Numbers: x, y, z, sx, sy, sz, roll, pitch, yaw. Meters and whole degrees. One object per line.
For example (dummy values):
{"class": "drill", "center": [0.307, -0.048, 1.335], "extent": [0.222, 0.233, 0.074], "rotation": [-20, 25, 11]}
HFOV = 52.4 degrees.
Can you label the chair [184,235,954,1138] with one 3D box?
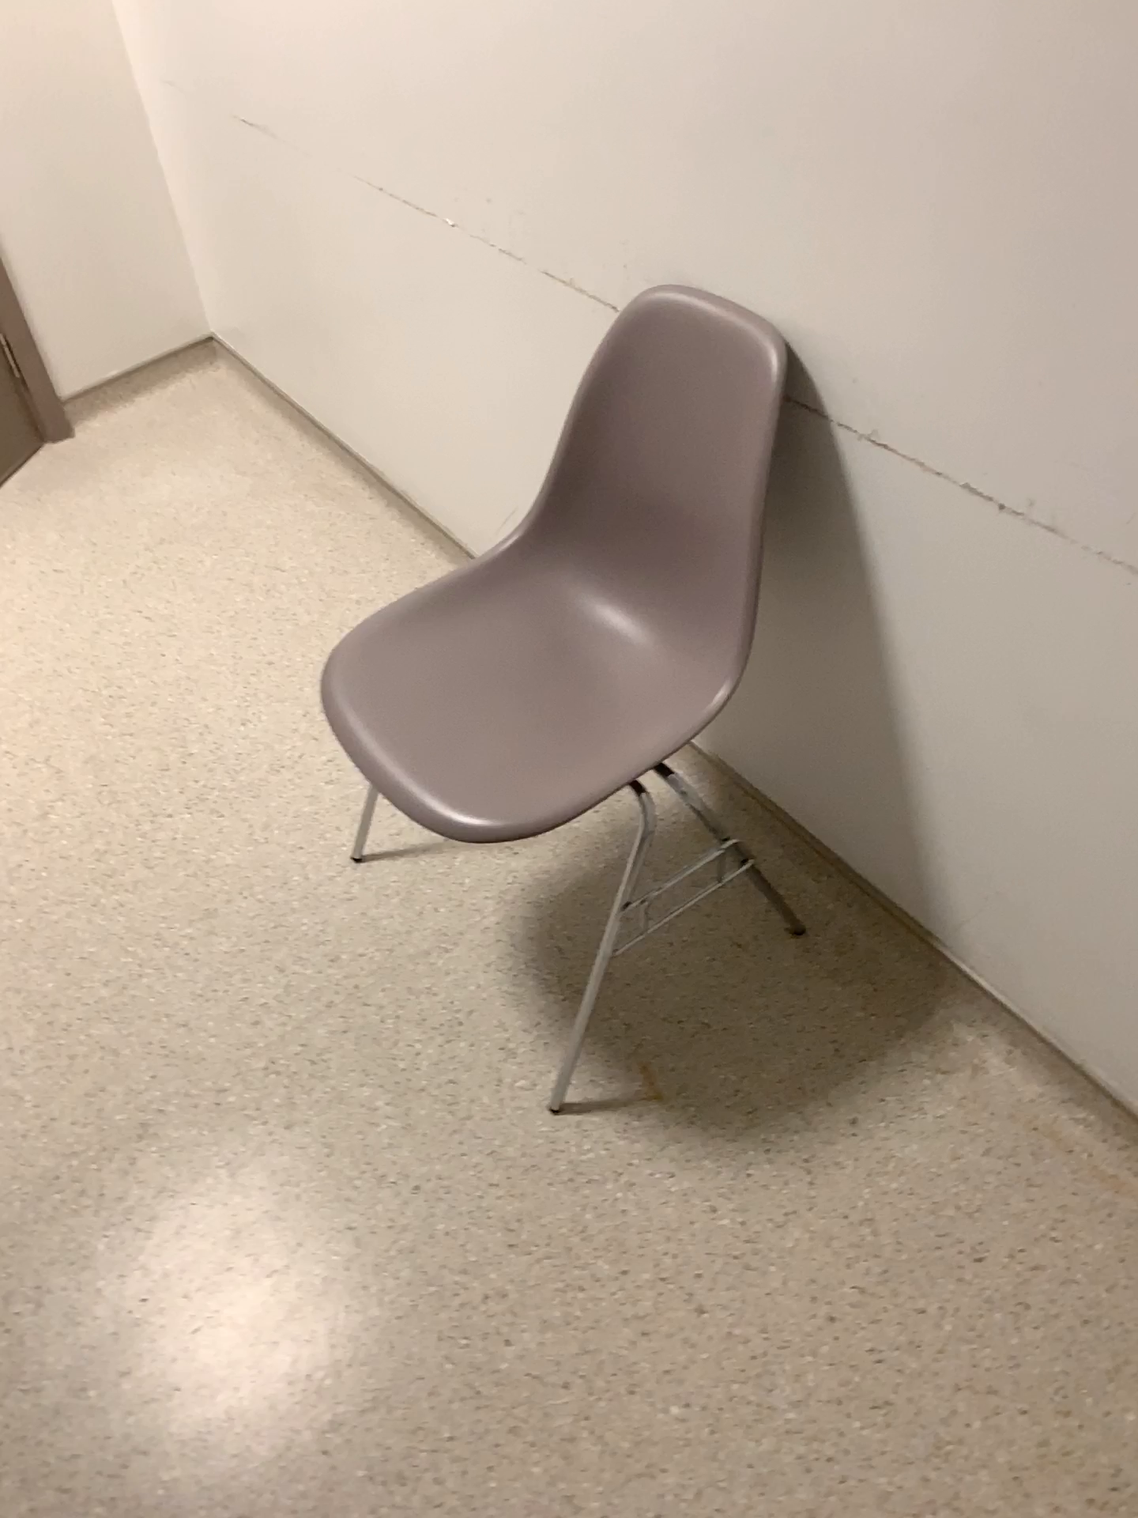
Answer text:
{"class": "chair", "center": [0.003, -0.095, 1.429], "extent": [0.541, 0.782, 0.584], "rotation": [-28, 48, -22]}
